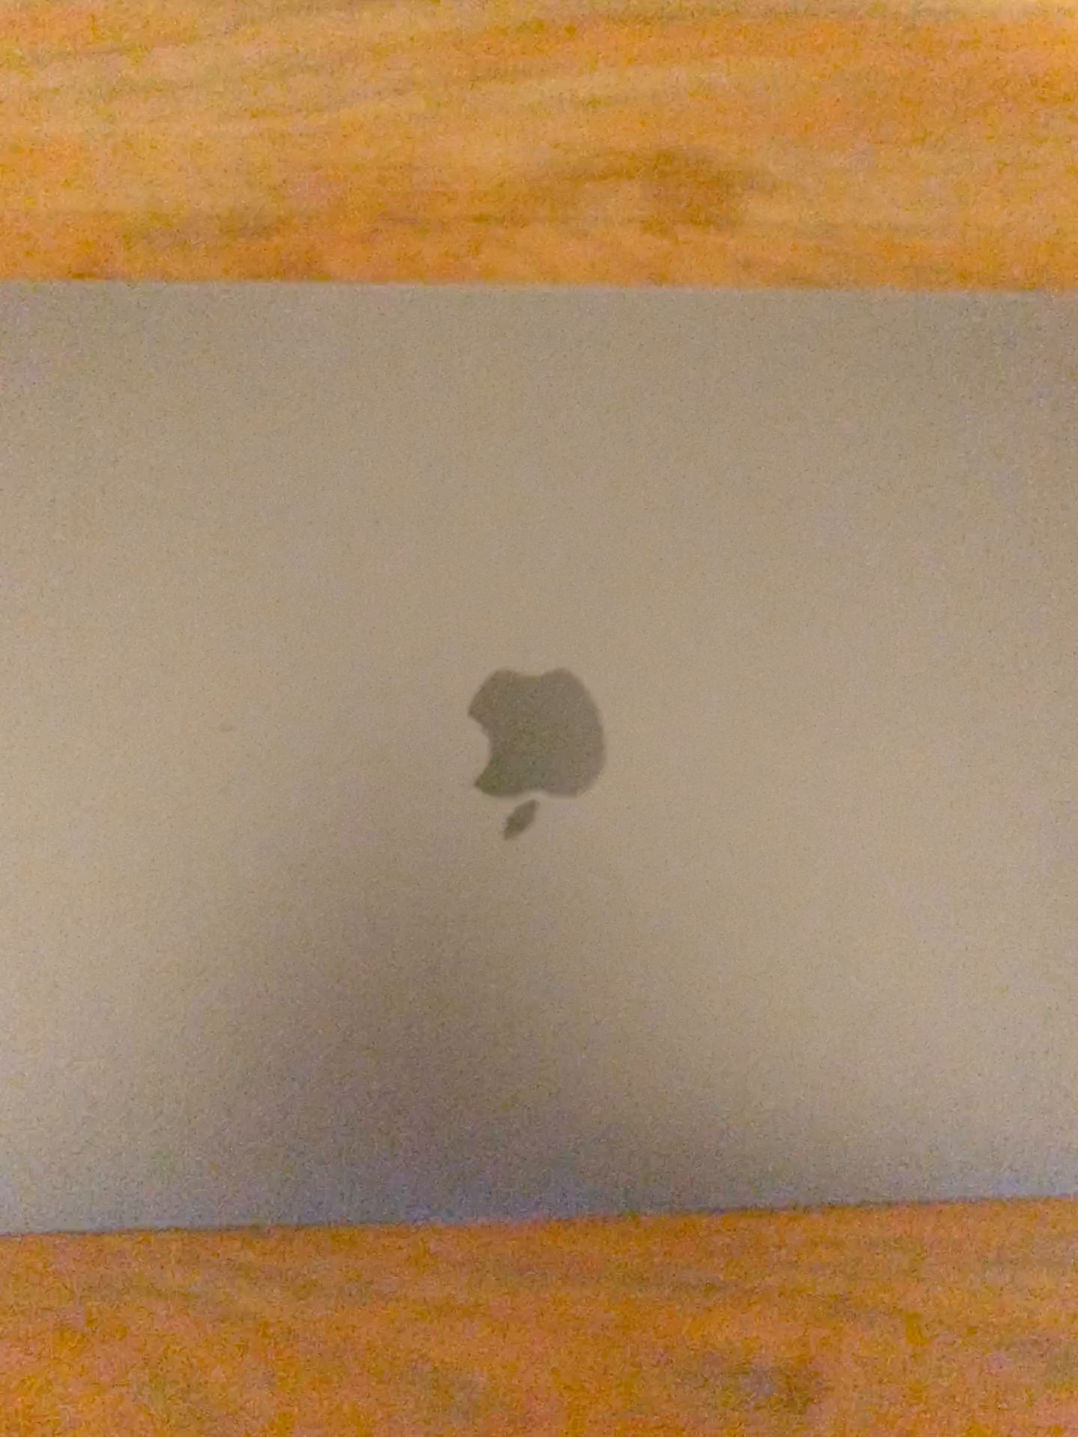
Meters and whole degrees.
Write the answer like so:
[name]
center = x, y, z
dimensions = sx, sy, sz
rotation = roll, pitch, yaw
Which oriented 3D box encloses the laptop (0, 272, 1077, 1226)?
[laptop]
center = 0.002, 0.004, 0.258
dimensions = 0.292, 0.005, 0.210
rotation = 0, 86, -2
